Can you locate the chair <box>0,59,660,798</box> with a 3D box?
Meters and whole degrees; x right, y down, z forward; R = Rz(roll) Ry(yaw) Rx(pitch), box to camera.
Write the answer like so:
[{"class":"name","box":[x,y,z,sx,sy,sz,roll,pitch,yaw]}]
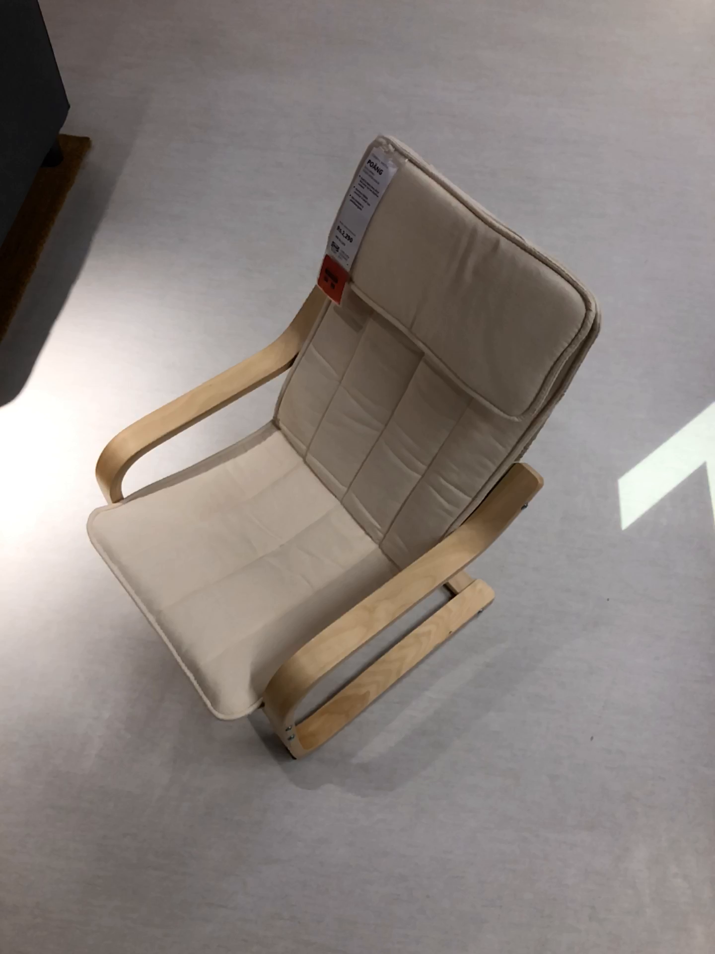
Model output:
[{"class":"chair","box":[-0.090,-0.002,1.206,0.581,0.836,0.562,-35,66,-20]}]
